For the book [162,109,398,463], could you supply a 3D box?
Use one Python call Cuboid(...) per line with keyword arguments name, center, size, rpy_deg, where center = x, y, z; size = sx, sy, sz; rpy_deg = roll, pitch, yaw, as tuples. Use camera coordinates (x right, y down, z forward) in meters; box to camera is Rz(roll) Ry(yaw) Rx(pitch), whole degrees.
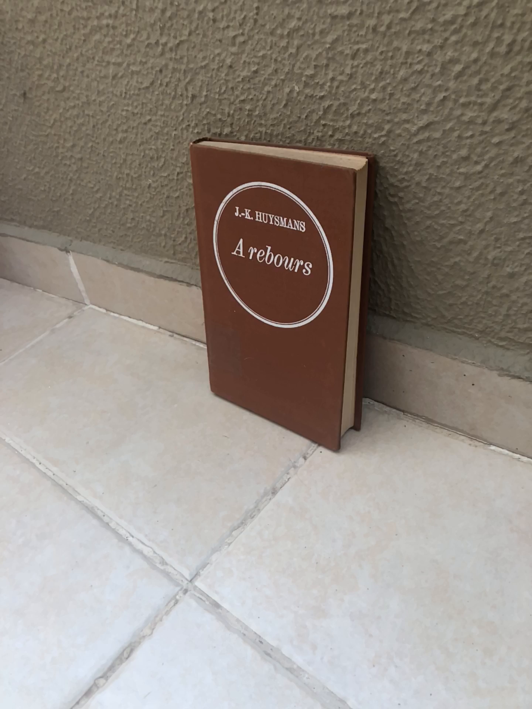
Cuboid(name="book", center=(0.005, -0.049, 0.402), size=(0.150, 0.209, 0.040), rpy_deg=(21, 36, 36))
